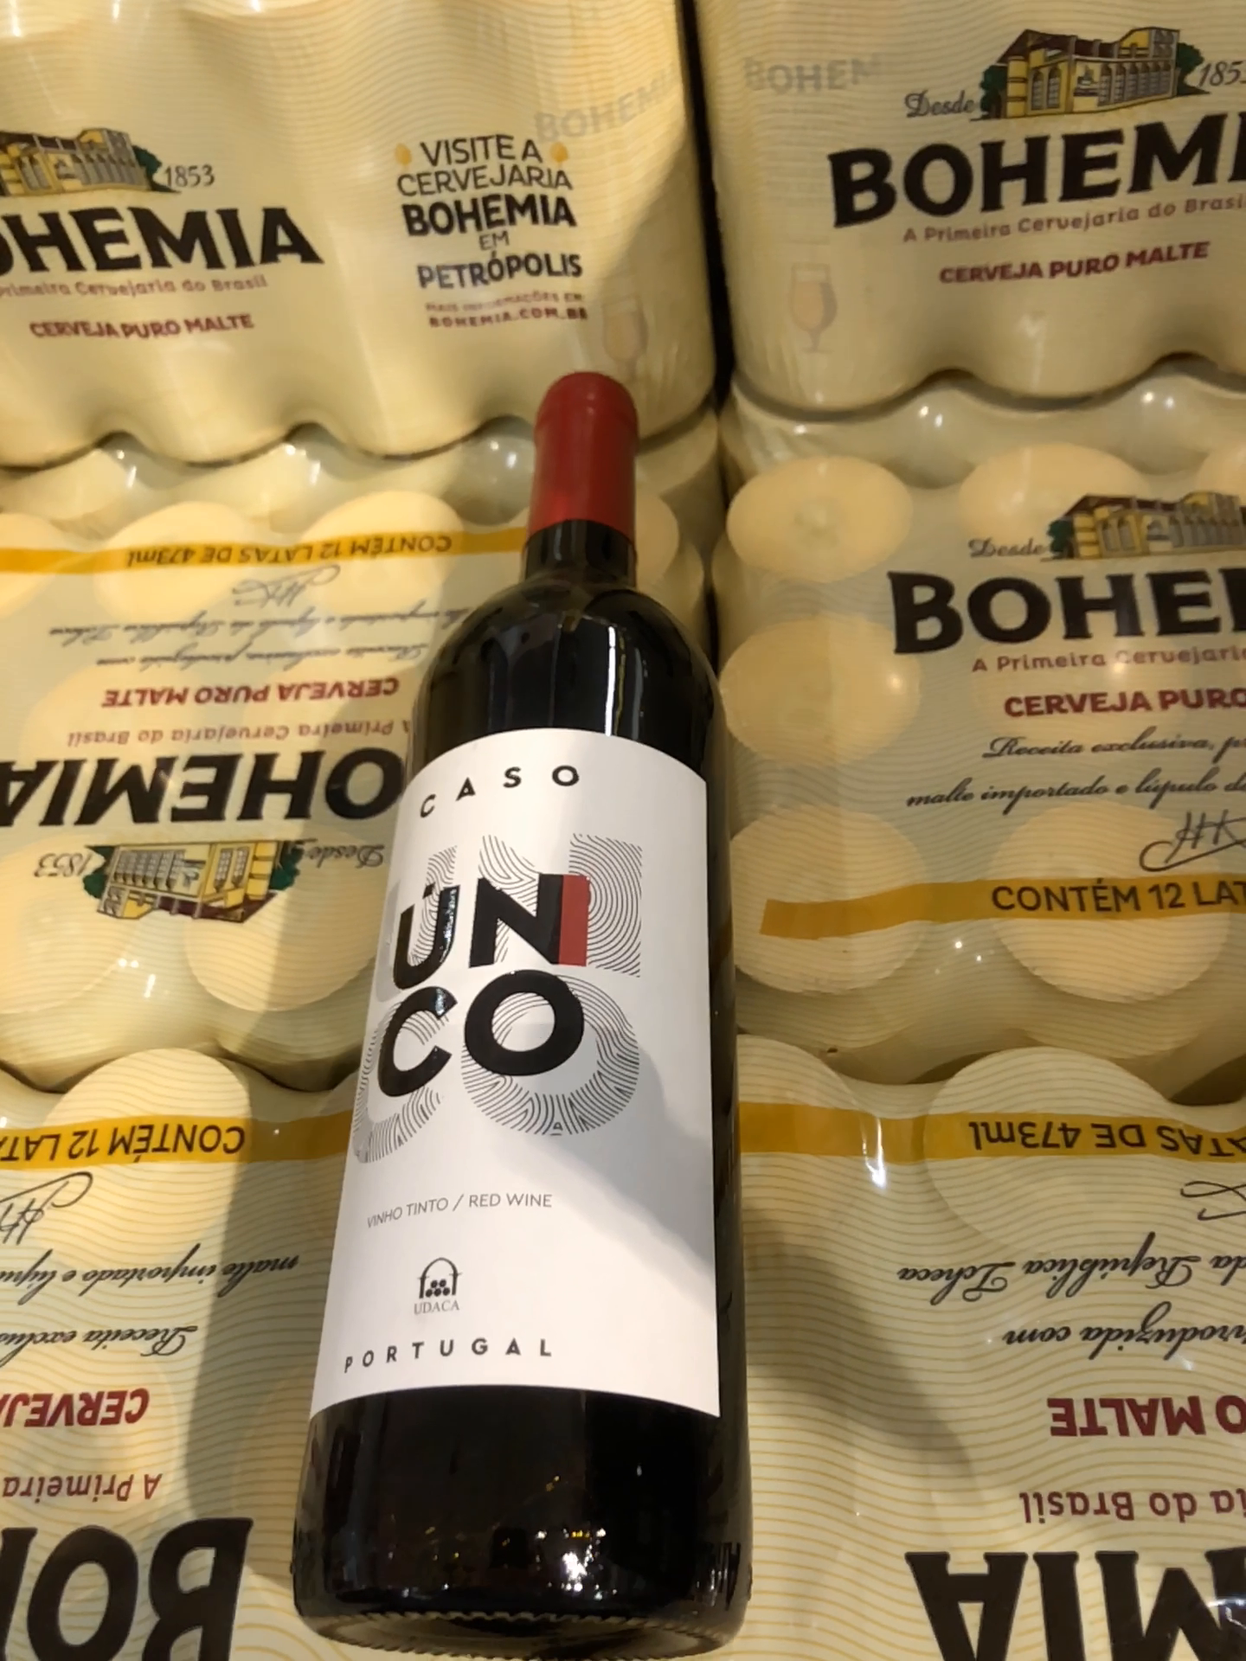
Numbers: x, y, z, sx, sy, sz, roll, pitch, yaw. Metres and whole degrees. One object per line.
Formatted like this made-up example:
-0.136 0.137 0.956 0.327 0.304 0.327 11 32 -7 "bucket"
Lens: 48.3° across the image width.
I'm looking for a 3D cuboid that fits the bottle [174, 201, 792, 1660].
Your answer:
-0.014 -0.008 0.305 0.080 0.070 0.332 -4 55 7 "bottle"
